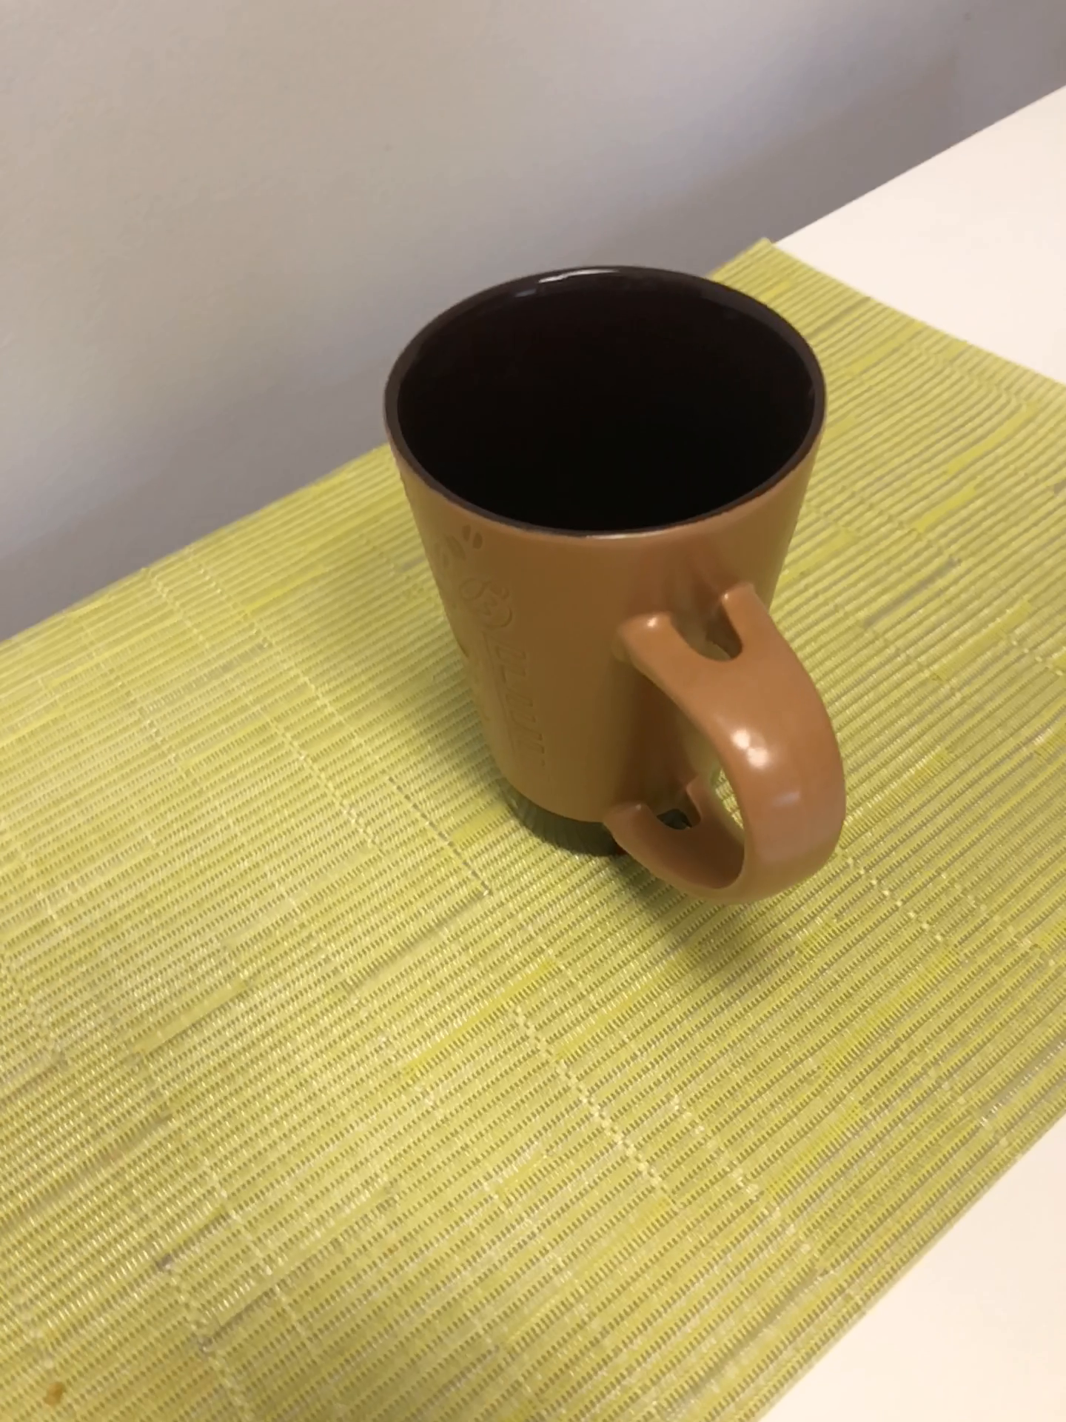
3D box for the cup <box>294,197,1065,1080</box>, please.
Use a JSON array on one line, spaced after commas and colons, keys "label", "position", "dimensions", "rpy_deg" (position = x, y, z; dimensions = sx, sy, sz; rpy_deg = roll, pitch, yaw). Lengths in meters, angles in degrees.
[{"label": "cup", "position": [0.023, -0.017, 0.262], "dimensions": [0.090, 0.119, 0.127], "rpy_deg": [-23, 52, -14]}]
